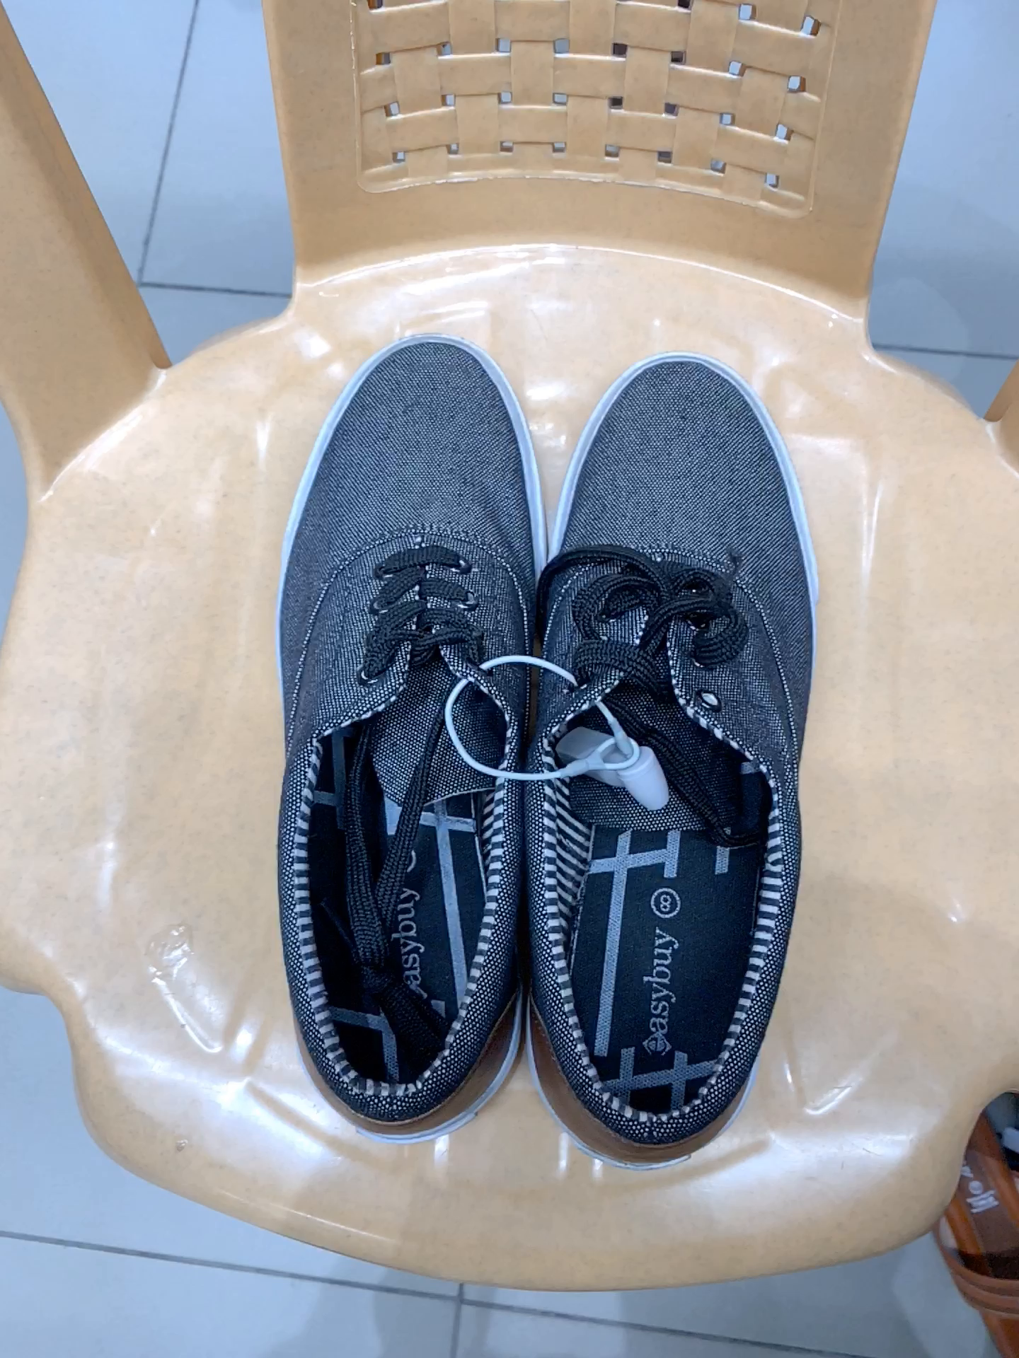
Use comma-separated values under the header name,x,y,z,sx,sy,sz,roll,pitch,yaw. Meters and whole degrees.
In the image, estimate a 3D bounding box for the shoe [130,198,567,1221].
name,x,y,z,sx,sy,sz,roll,pitch,yaw
shoe,-0.036,0.007,0.319,0.100,0.110,0.260,-1,78,3

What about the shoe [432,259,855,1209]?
name,x,y,z,sx,sy,sz,roll,pitch,yaw
shoe,0.045,0.013,0.355,0.110,0.110,0.270,3,78,4
